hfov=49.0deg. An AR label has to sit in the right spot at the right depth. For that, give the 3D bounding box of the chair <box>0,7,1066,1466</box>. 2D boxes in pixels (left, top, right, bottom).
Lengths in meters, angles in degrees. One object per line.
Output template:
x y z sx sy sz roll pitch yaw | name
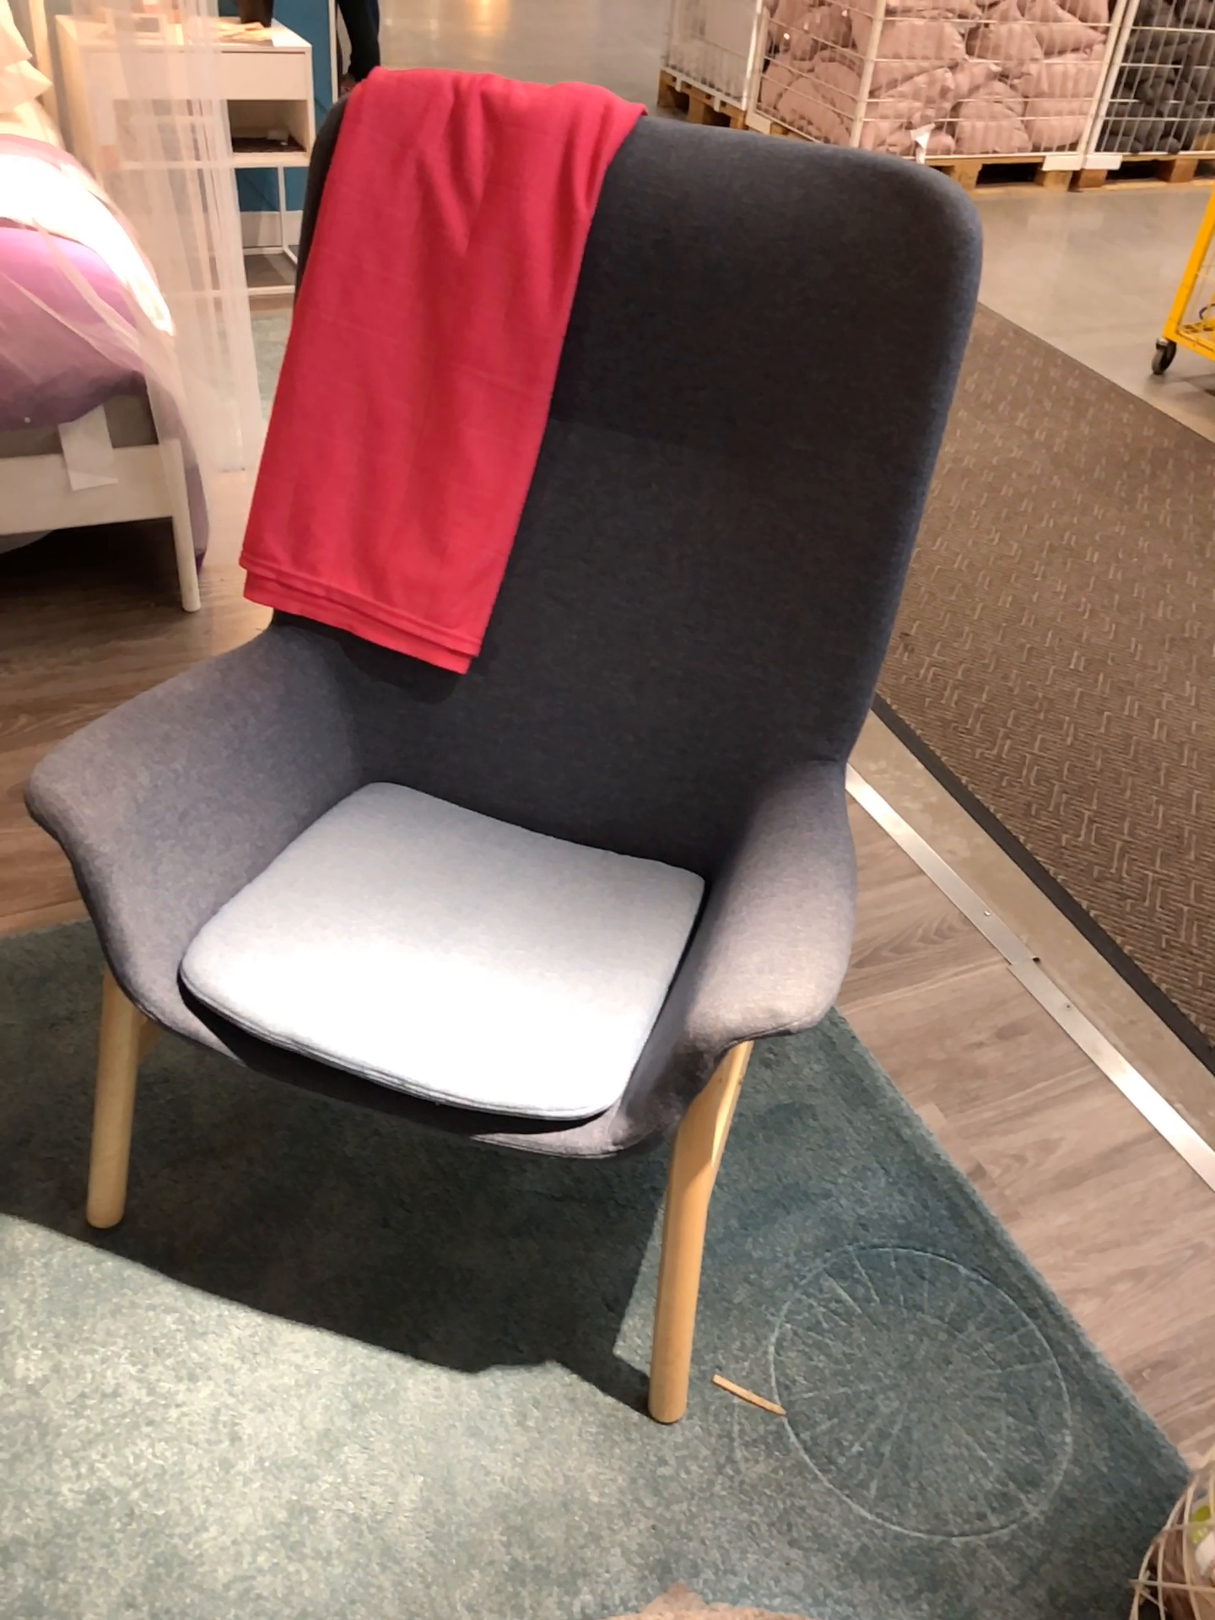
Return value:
-0.126 -0.083 1.255 0.790 0.996 0.703 14 39 10 | chair
